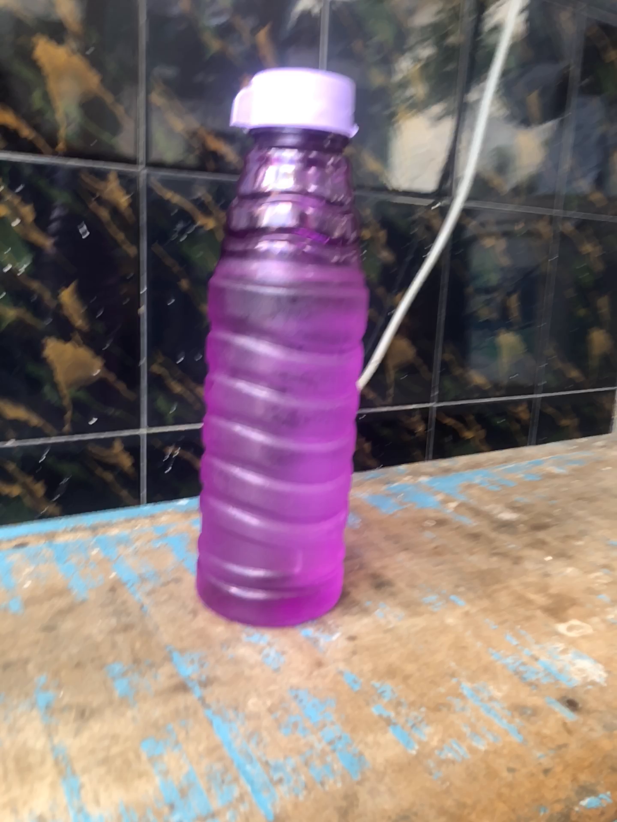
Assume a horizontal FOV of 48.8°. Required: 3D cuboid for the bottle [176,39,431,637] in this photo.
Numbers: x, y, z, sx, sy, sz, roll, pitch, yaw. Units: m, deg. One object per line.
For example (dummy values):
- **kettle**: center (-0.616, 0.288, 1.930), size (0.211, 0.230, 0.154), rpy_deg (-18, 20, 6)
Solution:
- **bottle**: center (-0.011, -0.029, 0.323), size (0.090, 0.239, 0.080), rpy_deg (-2, 13, -19)
